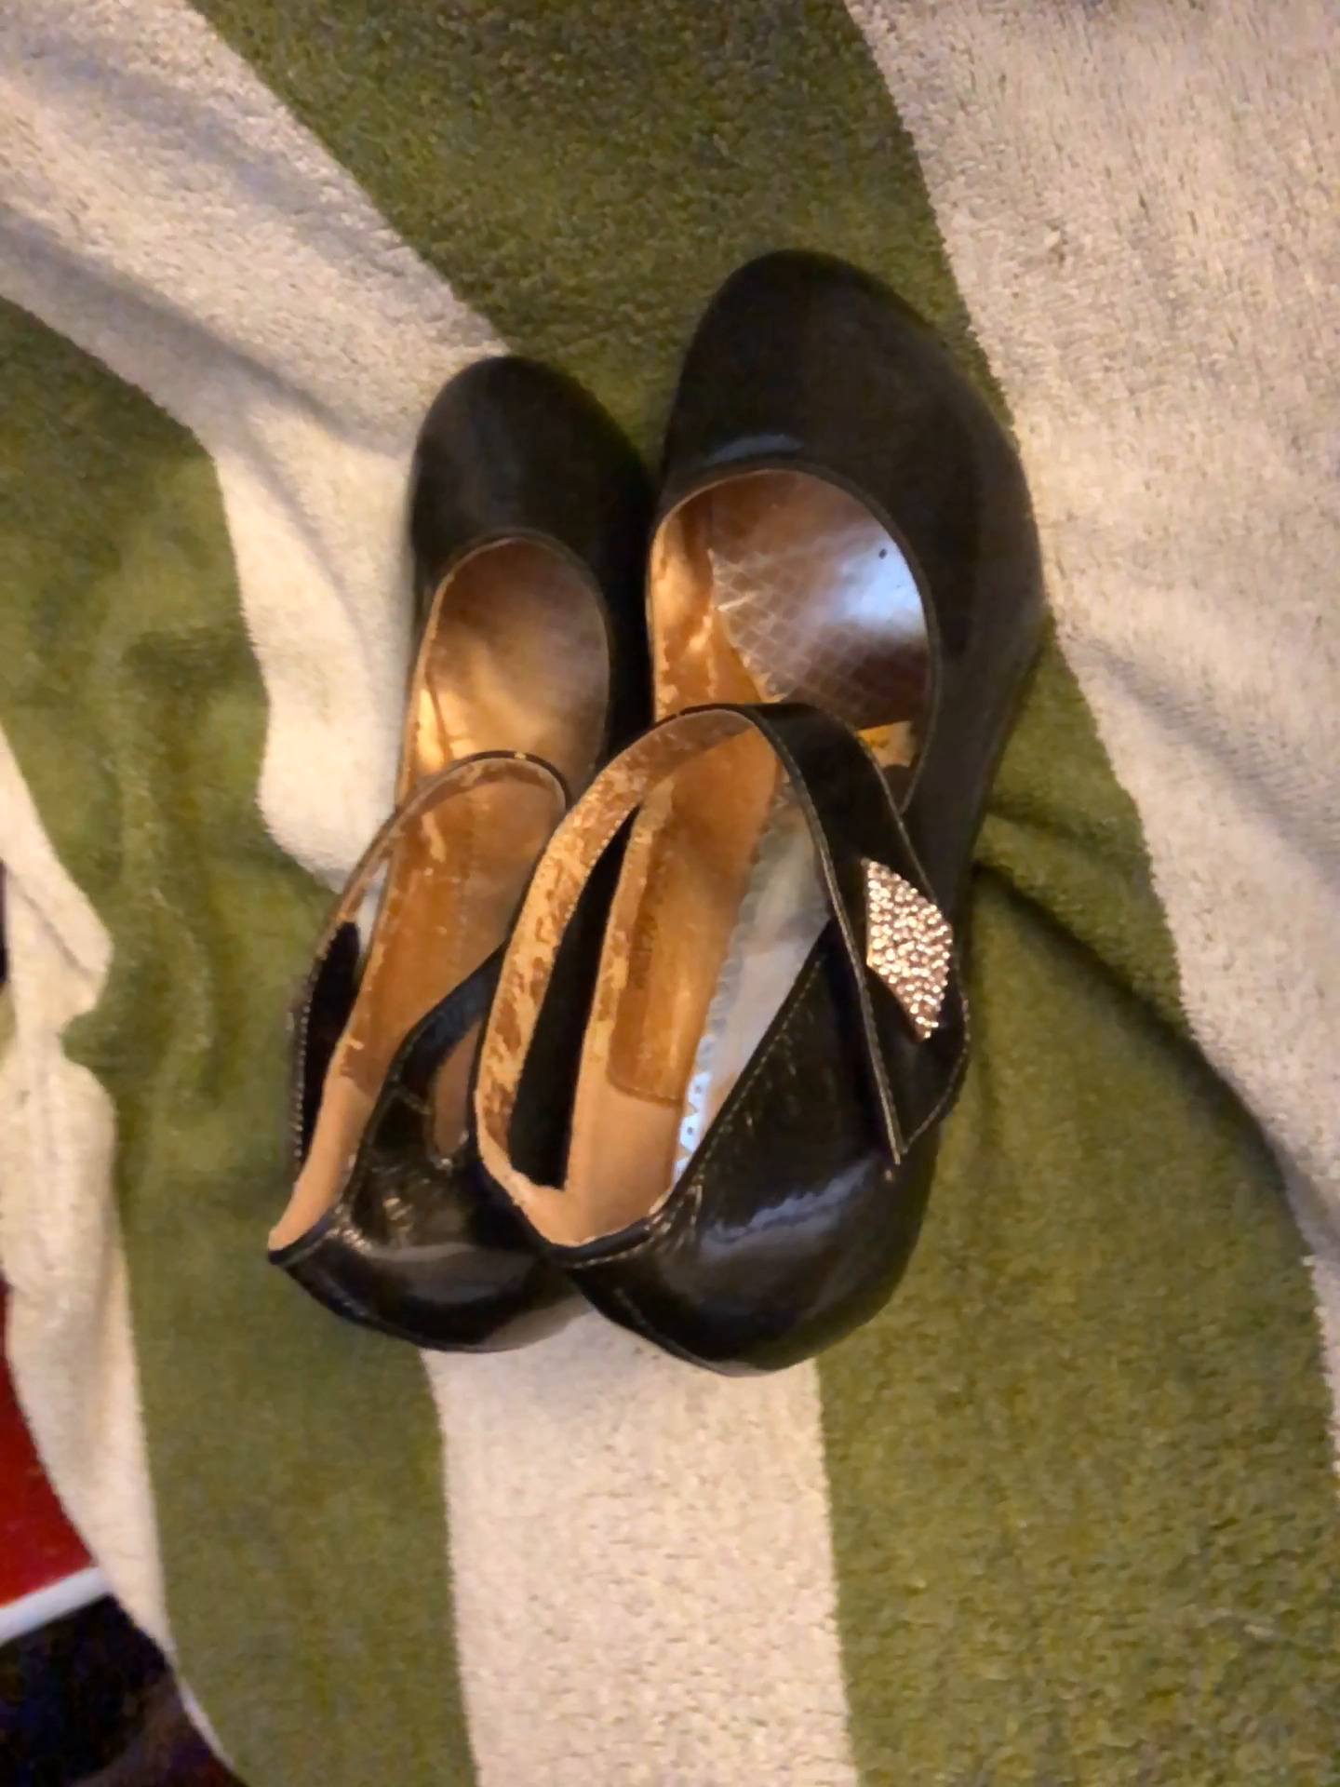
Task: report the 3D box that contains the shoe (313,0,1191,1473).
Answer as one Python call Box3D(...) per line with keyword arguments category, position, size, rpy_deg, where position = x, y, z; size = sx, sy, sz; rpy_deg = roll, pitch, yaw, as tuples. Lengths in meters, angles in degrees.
Box3D(category="shoe", position=(0.020, -0.038, 0.273), size=(0.090, 0.120, 0.240), rpy_deg=(-9, 84, 31))

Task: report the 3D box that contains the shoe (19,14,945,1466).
Box3D(category="shoe", position=(-0.037, -0.025, 0.313), size=(0.090, 0.120, 0.240), rpy_deg=(-20, 79, 30))
